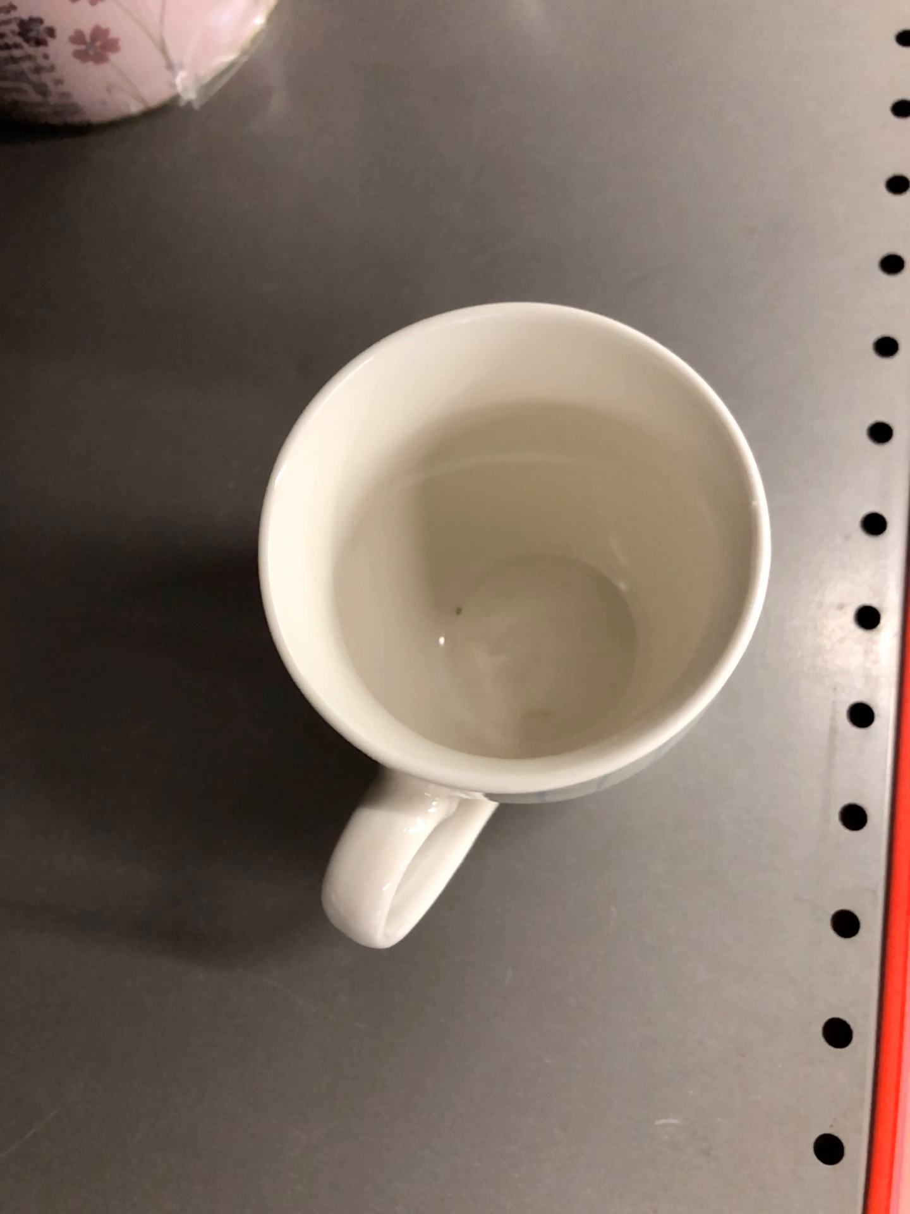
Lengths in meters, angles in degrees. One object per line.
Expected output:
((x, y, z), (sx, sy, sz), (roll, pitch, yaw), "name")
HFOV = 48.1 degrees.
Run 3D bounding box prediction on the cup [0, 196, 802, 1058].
((-0.005, 0.006, 0.218), (0.093, 0.096, 0.119), (26, 81, 12), "cup")
